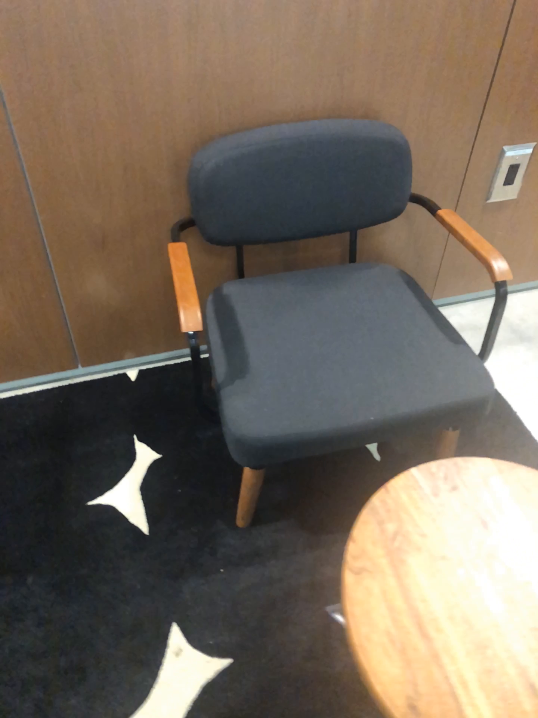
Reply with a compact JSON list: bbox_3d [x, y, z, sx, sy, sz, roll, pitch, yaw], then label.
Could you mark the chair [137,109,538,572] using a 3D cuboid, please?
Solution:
[{"bbox_3d":[0.118,-0.076,1.391,0.681,0.714,0.685,-10,43,-12],"label":"chair"}]
